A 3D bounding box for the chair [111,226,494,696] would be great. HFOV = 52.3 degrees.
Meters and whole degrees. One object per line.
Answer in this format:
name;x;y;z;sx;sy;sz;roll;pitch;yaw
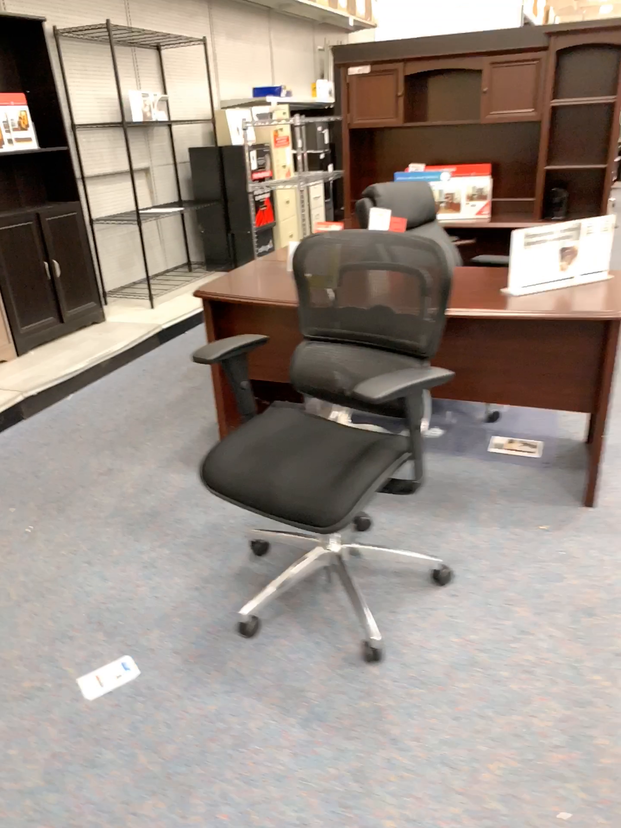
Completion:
chair;0.036;0.045;1.768;0.698;0.983;0.686;11;28;29
